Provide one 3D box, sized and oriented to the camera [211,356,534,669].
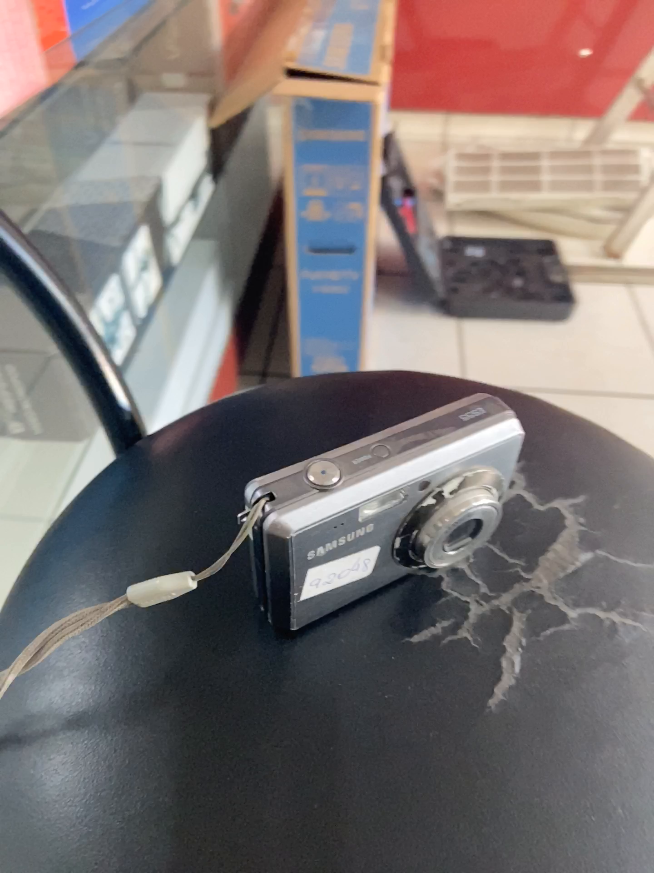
[{"bbox_3d":[0.014,0.025,0.231,0.090,0.070,0.040,-21,48,-21],"label":"camera"}]
